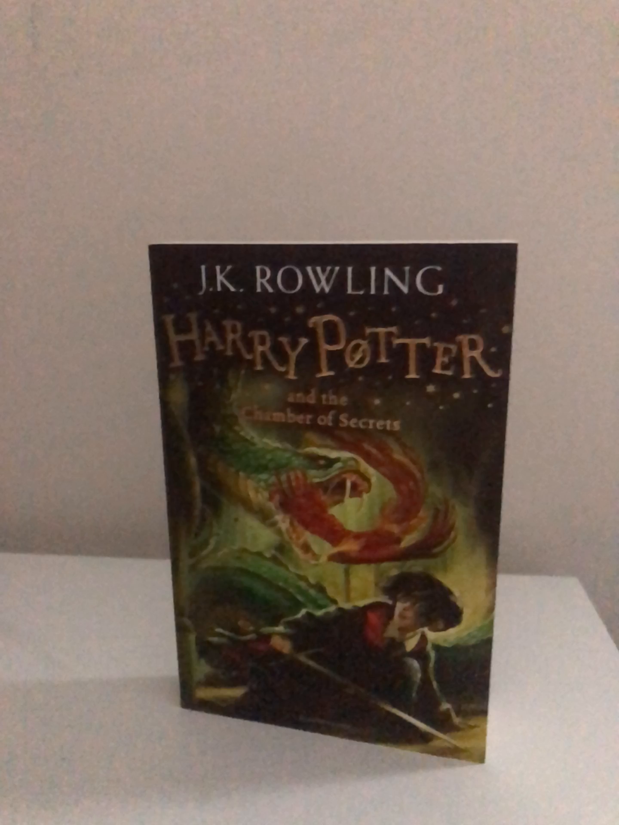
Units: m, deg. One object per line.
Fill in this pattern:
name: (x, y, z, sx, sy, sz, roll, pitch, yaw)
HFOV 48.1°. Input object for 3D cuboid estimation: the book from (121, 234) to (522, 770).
book: (0.007, 0.032, 0.264, 0.130, 0.190, 0.039, 3, 18, 15)
